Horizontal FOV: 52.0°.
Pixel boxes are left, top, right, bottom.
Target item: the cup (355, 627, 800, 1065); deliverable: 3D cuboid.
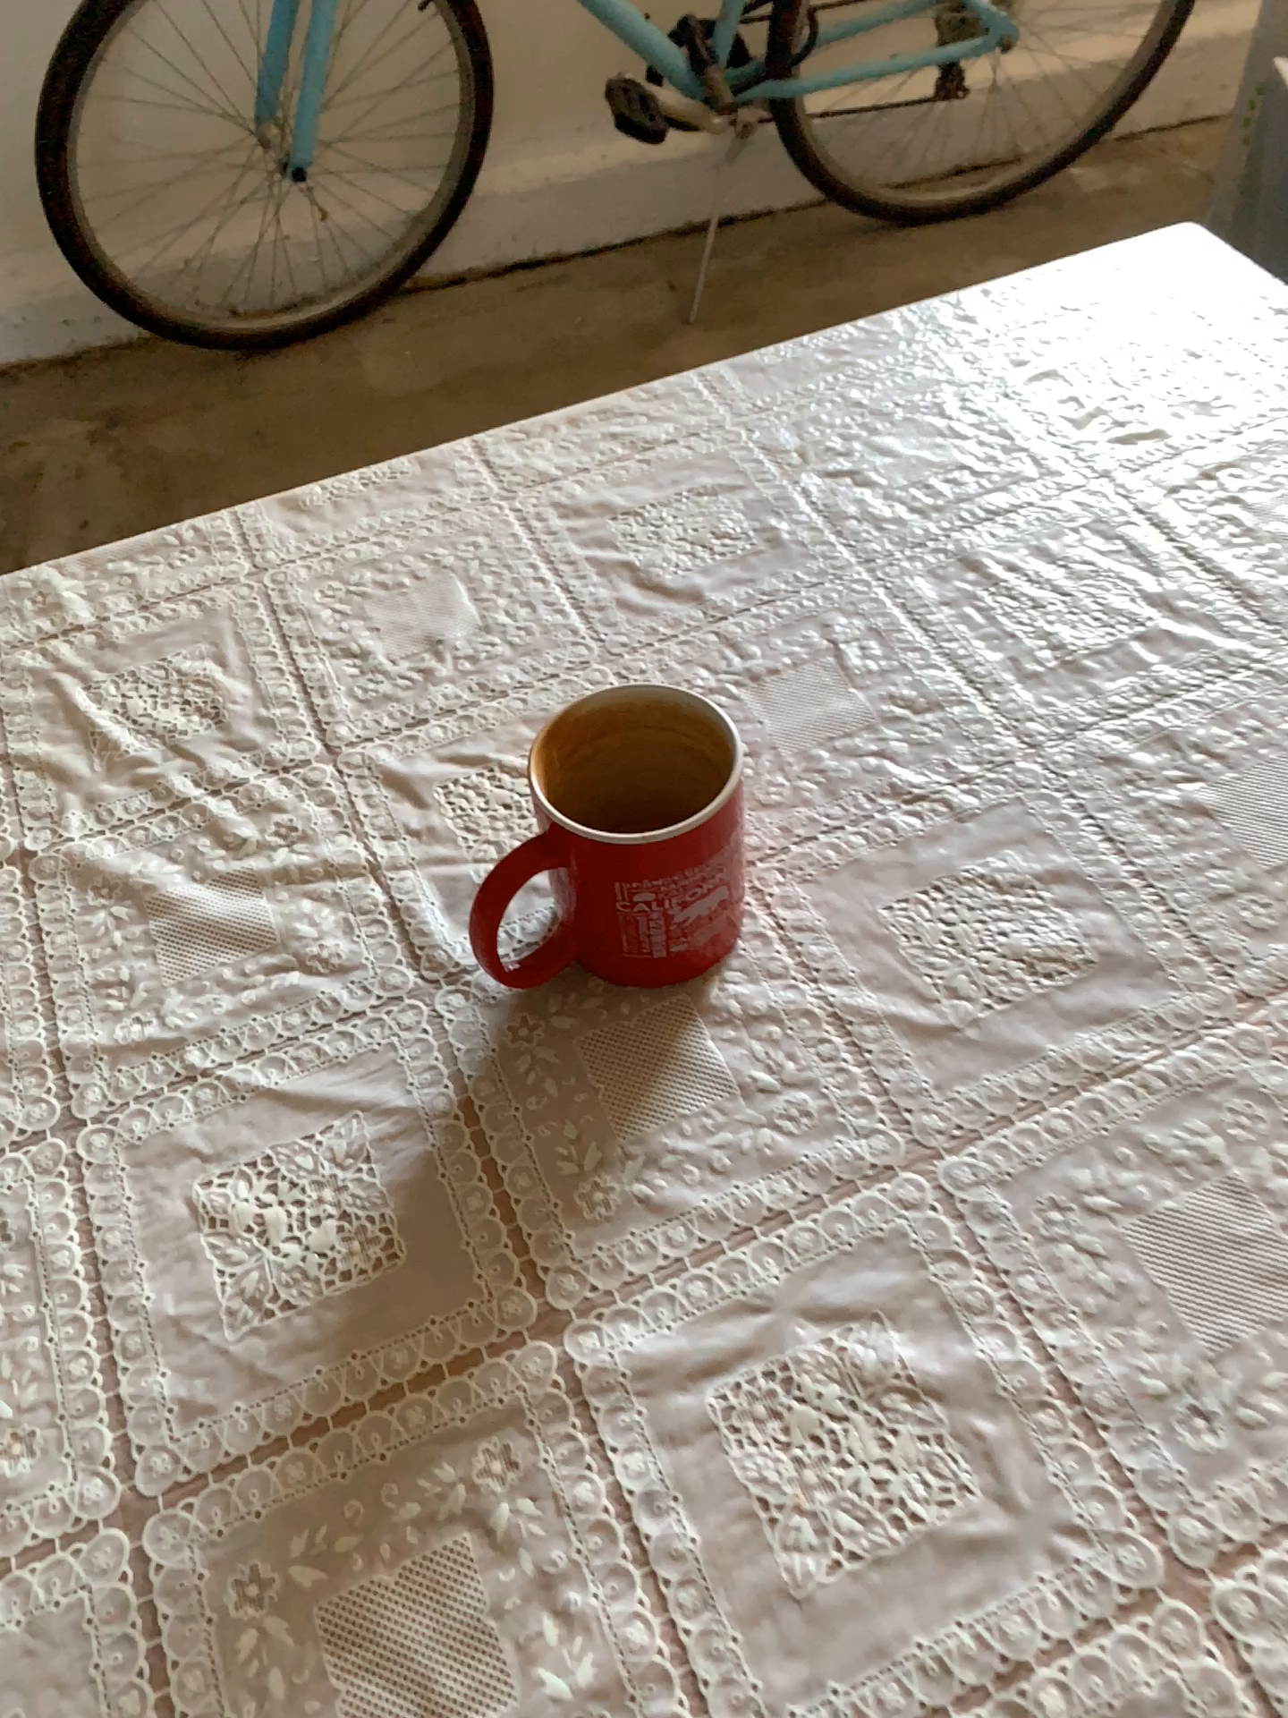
[{"bbox_3d":[-0.024,-0.008,0.539,0.140,0.080,0.100,-29,57,-15],"label":"cup"}]
